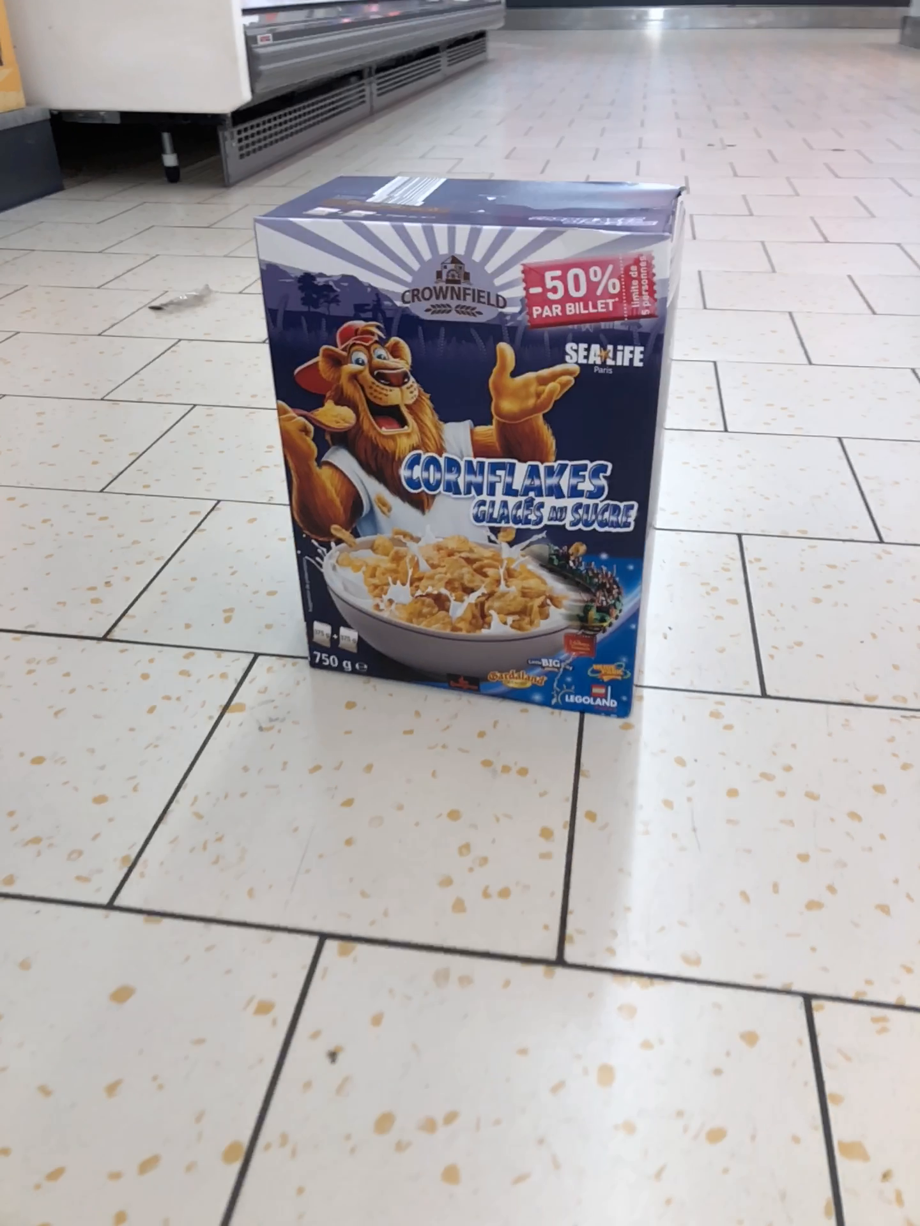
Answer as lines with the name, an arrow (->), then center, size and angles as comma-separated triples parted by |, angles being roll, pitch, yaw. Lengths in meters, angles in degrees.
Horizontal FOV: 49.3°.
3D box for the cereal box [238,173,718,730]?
cereal box -> 0.017, -0.094, 0.563 | 0.210, 0.258, 0.131 | 8, 32, 14
